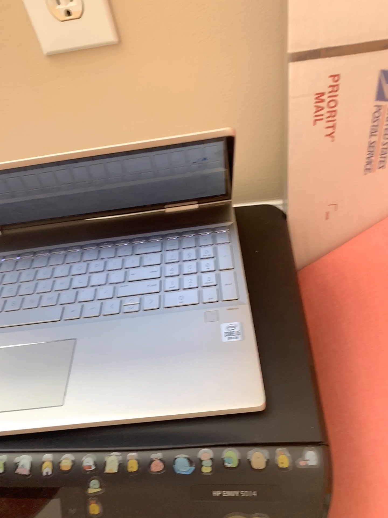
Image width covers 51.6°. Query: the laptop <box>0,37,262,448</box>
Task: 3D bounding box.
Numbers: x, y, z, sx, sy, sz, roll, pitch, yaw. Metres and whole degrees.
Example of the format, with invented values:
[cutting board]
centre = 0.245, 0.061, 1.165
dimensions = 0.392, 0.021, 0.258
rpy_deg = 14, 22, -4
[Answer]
[laptop]
centre = -0.142, -0.019, 0.322
dimensions = 0.350, 0.169, 0.238
rpy_deg = -7, 45, 5
